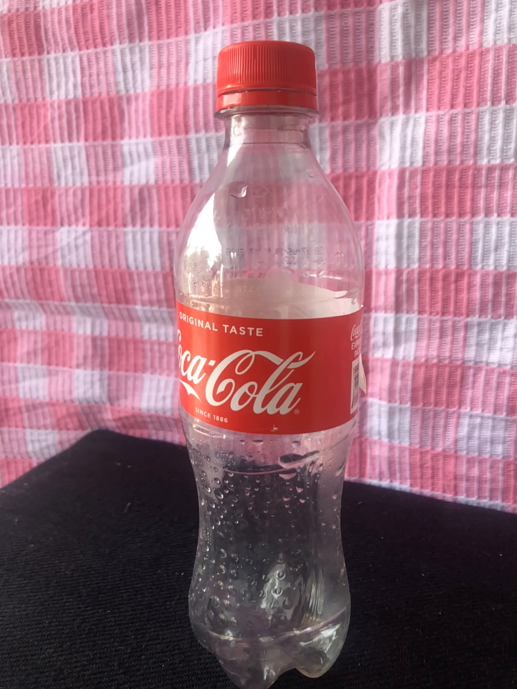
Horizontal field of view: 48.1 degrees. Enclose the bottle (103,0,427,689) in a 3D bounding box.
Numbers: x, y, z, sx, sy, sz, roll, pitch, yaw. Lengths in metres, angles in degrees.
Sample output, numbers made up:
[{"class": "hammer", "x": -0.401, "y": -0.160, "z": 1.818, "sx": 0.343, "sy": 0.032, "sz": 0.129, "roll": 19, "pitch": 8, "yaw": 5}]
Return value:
[{"class": "bottle", "x": 0.001, "y": 0.010, "z": 0.179, "sx": 0.060, "sy": 0.189, "sz": 0.060, "roll": 0, "pitch": 17, "yaw": 0}]
